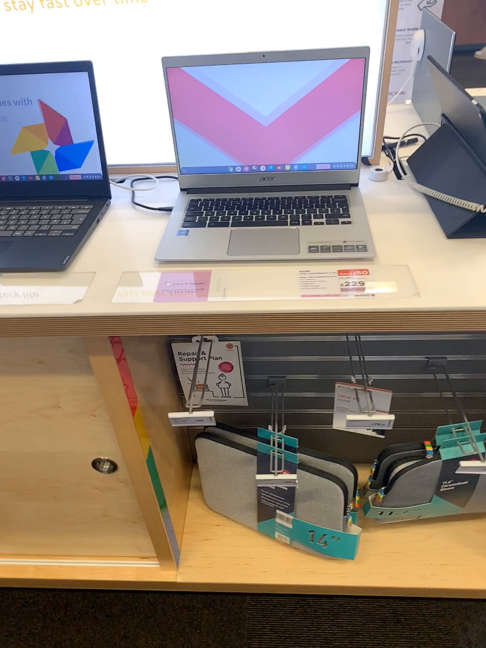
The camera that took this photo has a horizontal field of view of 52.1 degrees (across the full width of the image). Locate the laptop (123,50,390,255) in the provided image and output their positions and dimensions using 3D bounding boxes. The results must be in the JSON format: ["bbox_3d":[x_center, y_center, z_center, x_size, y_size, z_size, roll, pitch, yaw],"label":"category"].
[{"bbox_3d":[0.021,-0.254,0.722,0.303,0.206,0.239,-1,39,3],"label":"laptop"}]

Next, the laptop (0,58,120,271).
[{"bbox_3d":[-0.402,-0.251,0.760,0.308,0.204,0.285,1,41,5],"label":"laptop"}]
